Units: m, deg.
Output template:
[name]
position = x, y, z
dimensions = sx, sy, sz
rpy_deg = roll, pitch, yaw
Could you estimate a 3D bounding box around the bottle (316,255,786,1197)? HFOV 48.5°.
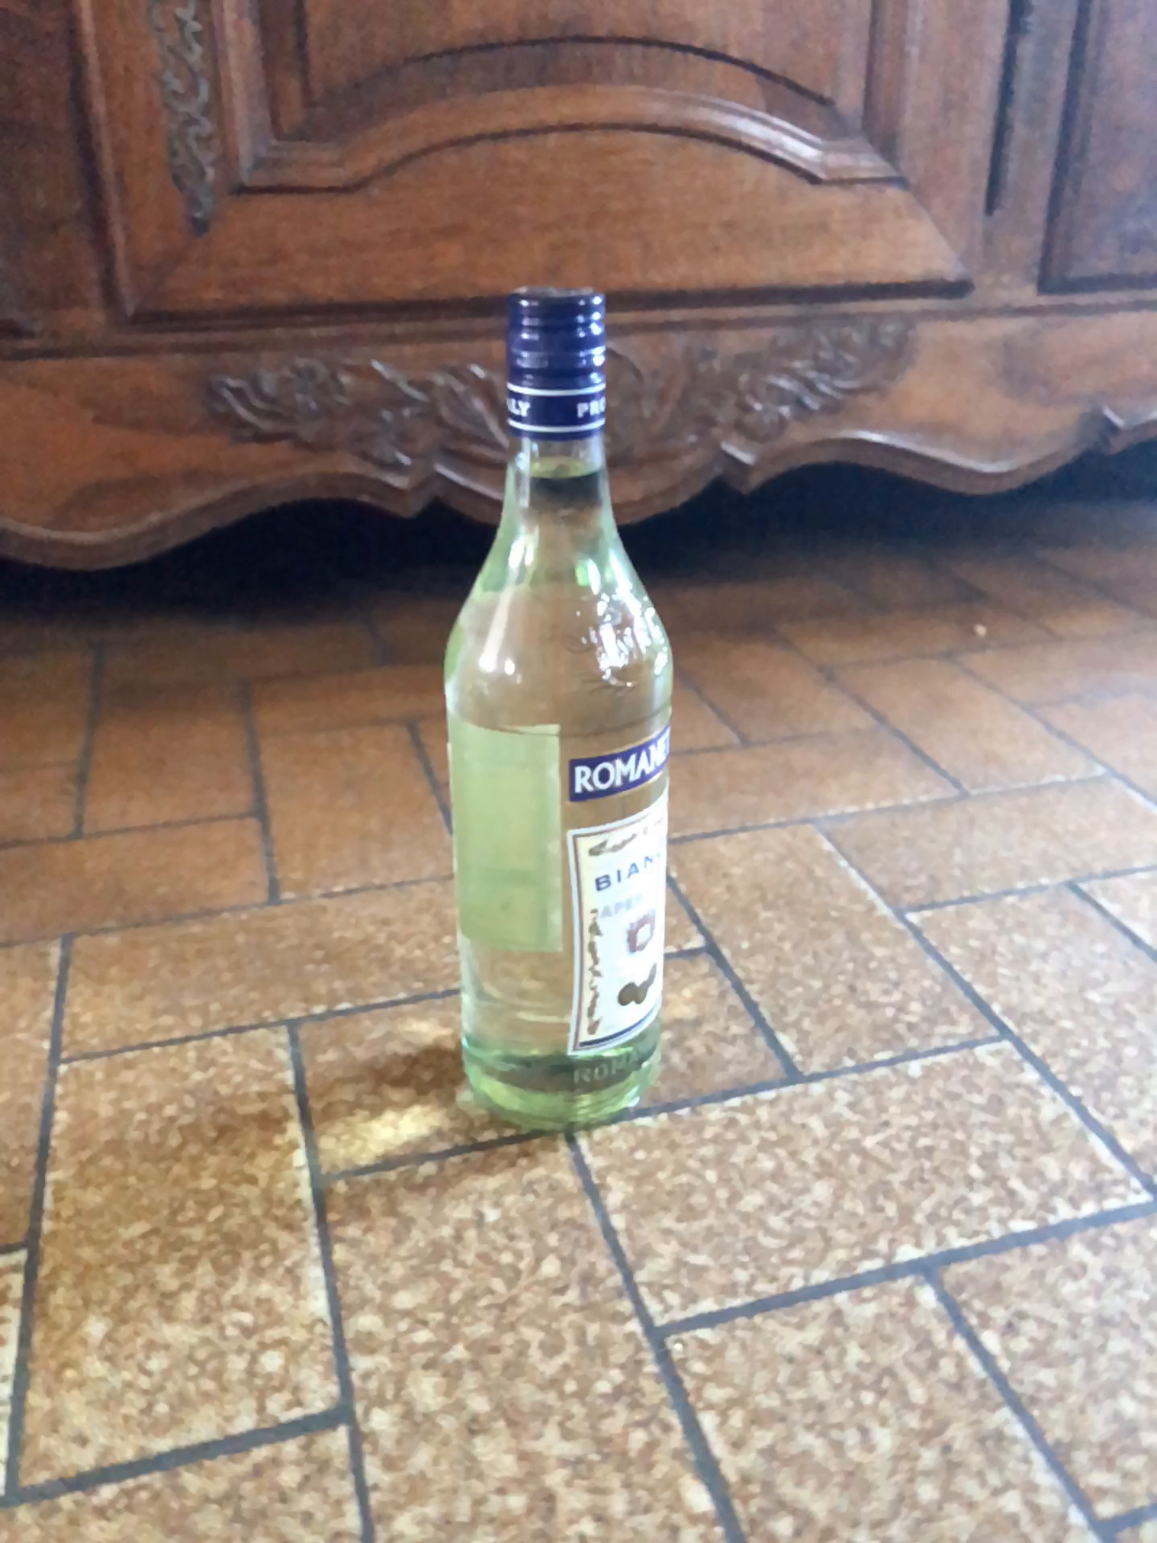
[bottle]
position = -0.007, -0.015, 0.452
dimensions = 0.100, 0.298, 0.101
rpy_deg = 0, 27, 0
